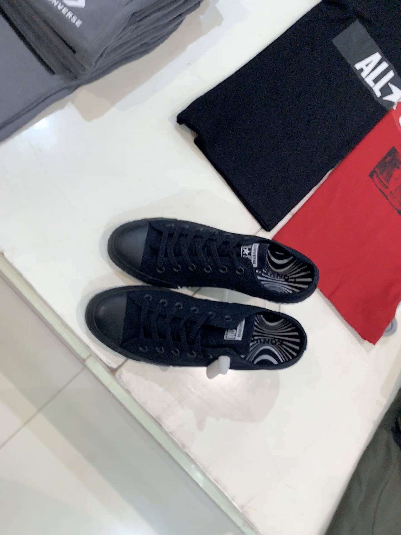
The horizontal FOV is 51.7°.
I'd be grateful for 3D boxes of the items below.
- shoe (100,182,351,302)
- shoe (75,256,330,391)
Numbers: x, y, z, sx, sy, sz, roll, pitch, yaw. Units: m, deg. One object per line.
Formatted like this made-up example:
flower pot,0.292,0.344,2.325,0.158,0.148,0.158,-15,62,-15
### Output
shoe,0.031,-0.028,0.549,0.290,0.100,0.090,11,83,3
shoe,0.005,0.069,0.509,0.270,0.100,0.100,10,78,5
